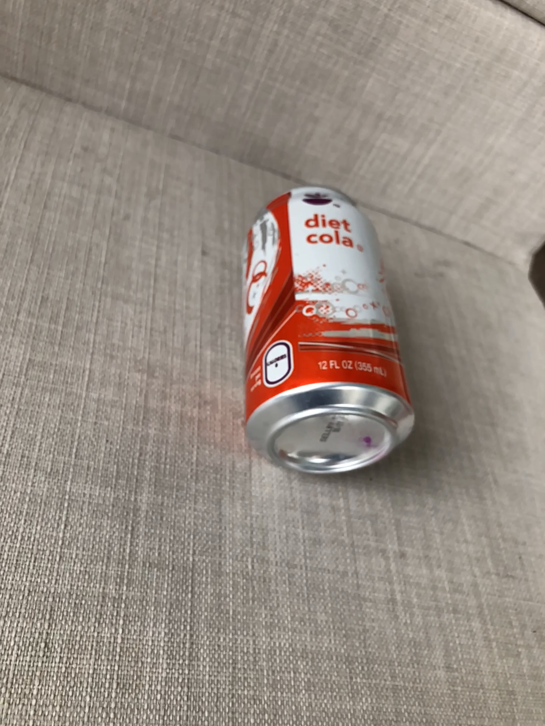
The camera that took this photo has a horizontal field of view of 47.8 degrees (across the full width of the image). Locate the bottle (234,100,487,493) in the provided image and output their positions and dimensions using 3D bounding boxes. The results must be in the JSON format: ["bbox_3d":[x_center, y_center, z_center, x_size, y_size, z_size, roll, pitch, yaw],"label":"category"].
[{"bbox_3d":[0.028,-0.030,0.267,0.070,0.062,0.150,14,54,-23],"label":"bottle"}]
